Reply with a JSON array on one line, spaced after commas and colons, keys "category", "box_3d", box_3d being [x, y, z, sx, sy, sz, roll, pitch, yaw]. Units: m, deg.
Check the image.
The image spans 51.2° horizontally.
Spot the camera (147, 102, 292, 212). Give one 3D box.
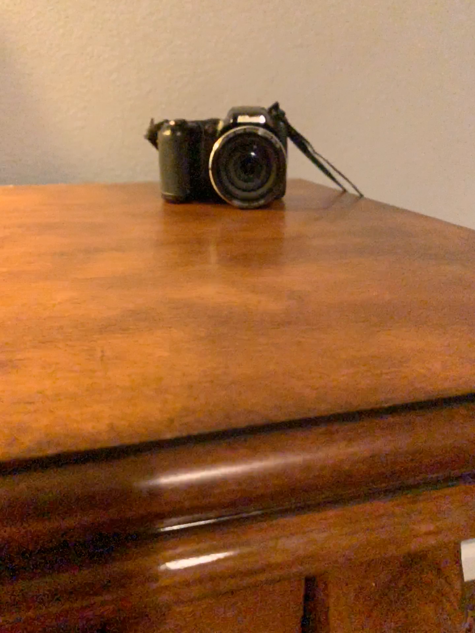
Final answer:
[{"category": "camera", "box_3d": [-0.012, -0.145, 0.446, 0.110, 0.081, 0.123, 0, 20, 1]}]
